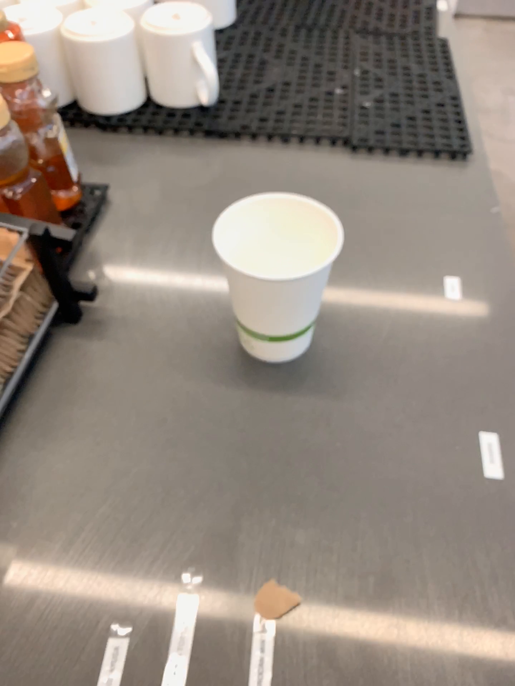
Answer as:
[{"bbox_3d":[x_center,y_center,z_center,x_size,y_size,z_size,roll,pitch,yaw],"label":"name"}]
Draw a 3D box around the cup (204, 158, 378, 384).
[{"bbox_3d":[0.022,-0.051,0.398,0.080,0.120,0.080,0,51,0],"label":"cup"}]
